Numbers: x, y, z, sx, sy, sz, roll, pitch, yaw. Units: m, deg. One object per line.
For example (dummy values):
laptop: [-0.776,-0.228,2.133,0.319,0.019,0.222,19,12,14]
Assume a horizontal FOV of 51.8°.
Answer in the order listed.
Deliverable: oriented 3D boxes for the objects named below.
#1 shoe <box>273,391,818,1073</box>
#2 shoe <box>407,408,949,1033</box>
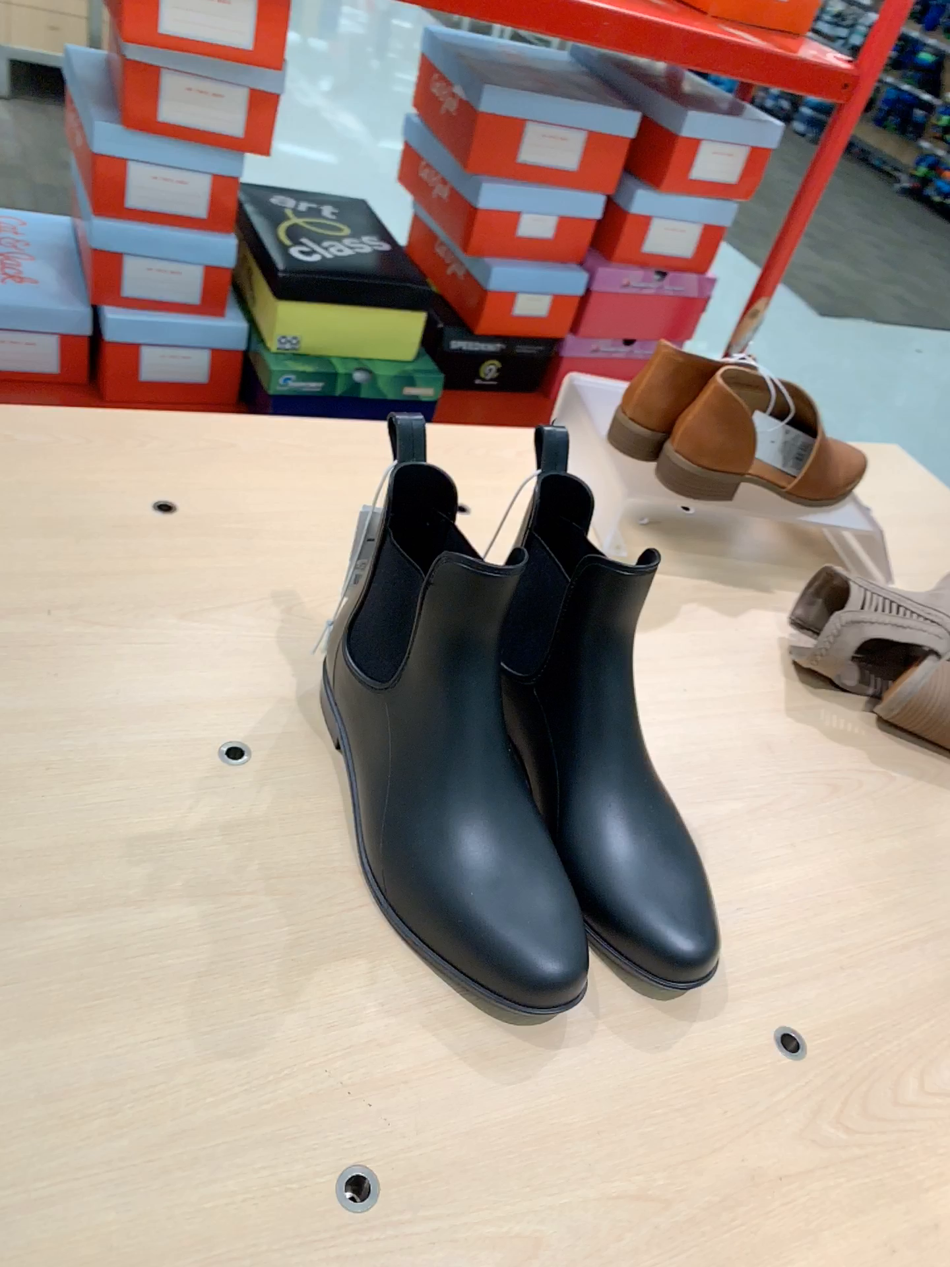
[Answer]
shoe: [0.004,0.035,0.523,0.113,0.201,0.287,-7,45,-30]
shoe: [0.084,0.034,0.562,0.100,0.199,0.287,-7,45,-30]
